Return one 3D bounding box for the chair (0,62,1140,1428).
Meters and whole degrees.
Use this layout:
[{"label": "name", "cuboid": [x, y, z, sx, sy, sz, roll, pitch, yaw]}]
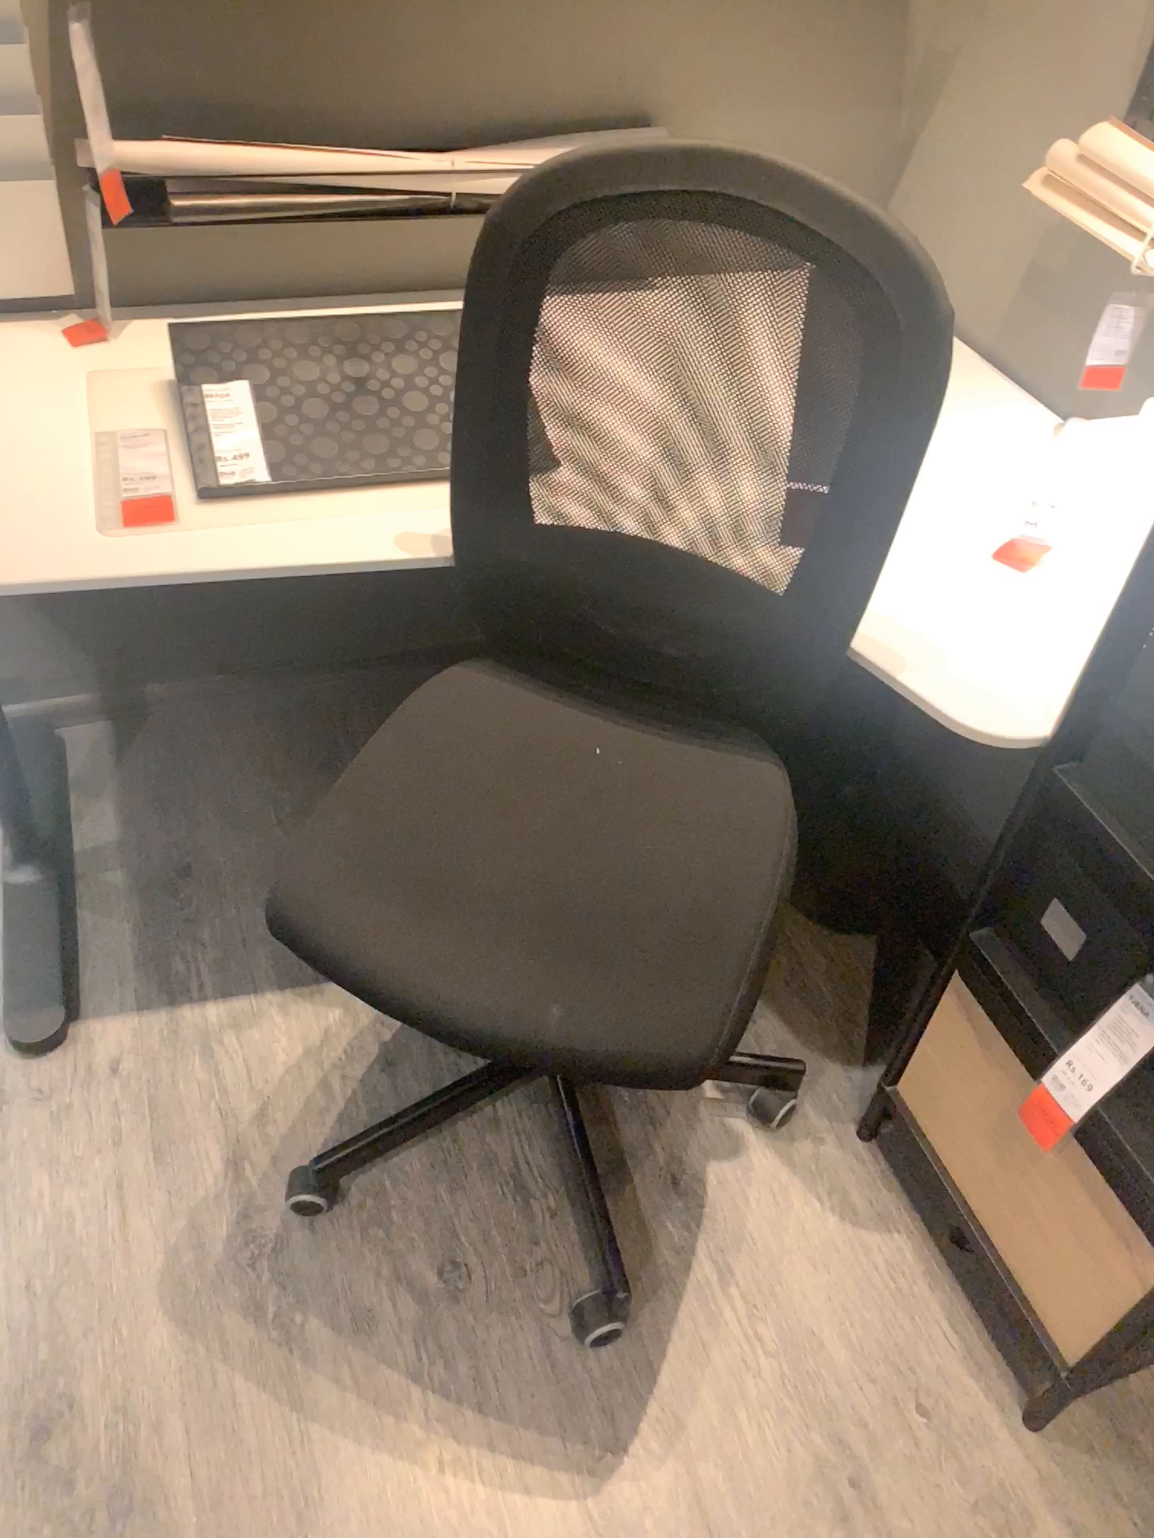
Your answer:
[{"label": "chair", "cuboid": [-0.011, -0.009, 1.184, 0.690, 0.996, 0.712, 19, 45, 13]}]
